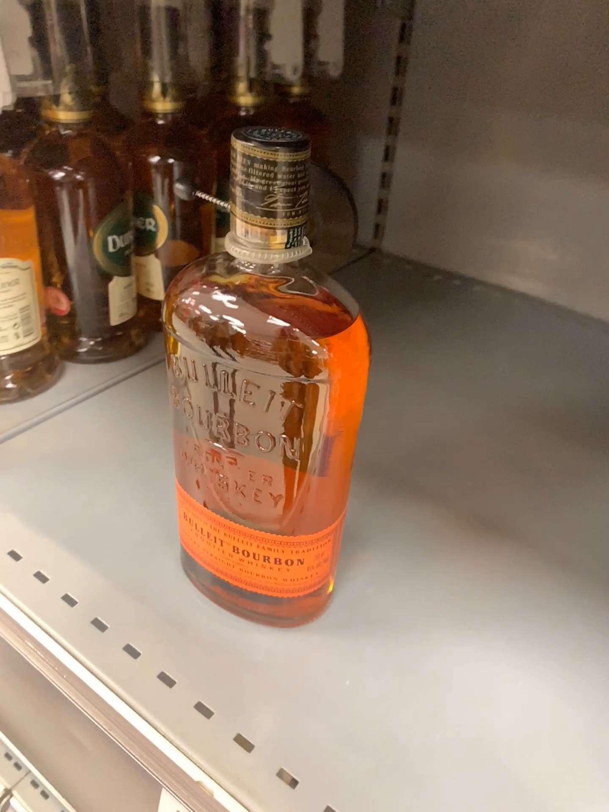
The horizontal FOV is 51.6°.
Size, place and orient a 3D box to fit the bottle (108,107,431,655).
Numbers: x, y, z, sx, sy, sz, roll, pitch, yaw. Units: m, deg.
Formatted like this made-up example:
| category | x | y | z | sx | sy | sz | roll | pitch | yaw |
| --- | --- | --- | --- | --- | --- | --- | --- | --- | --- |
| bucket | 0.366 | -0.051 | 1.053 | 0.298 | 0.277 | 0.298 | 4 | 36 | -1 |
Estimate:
| category | x | y | z | sx | sy | sz | roll | pitch | yaw |
| --- | --- | --- | --- | --- | --- | --- | --- | --- | --- |
| bottle | -0.020 | -0.003 | 0.290 | 0.100 | 0.228 | 0.060 | 21 | 37 | 23 |
